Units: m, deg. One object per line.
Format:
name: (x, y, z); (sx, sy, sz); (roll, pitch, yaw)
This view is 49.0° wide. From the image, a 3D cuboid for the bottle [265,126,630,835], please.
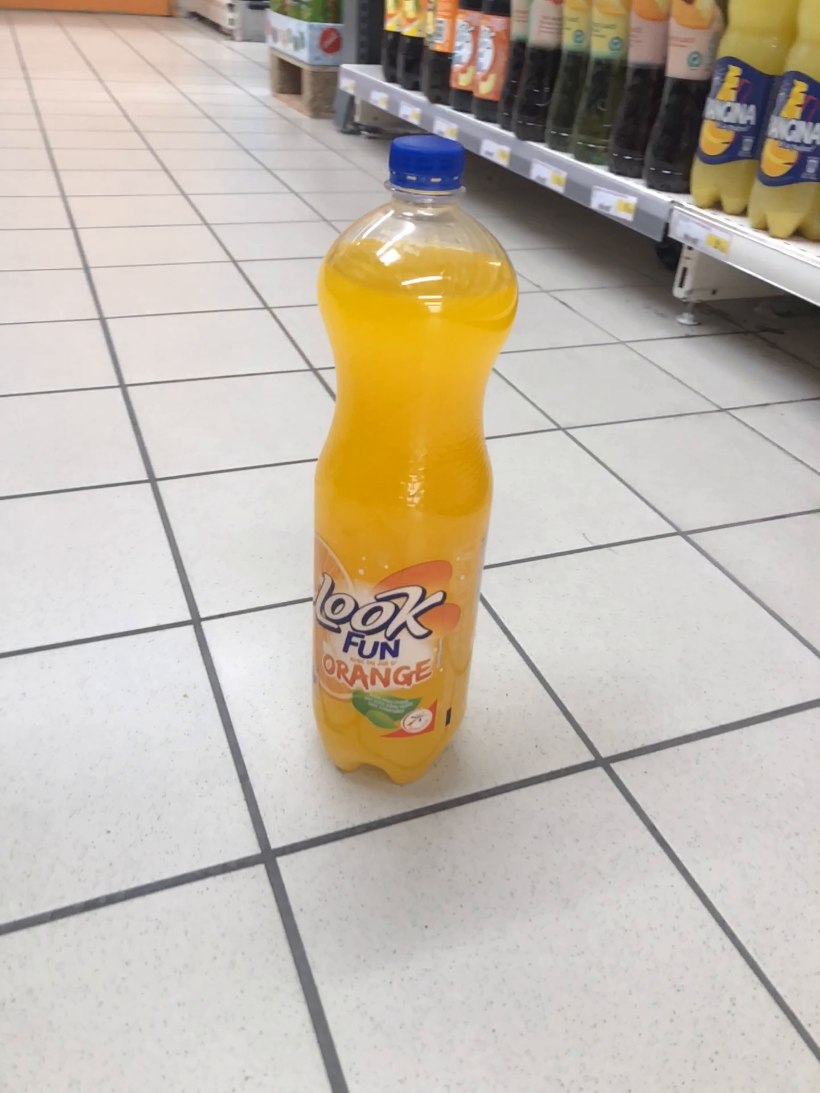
bottle: (0.008, -0.022, 0.421); (0.110, 0.298, 0.101); (3, 32, -2)
